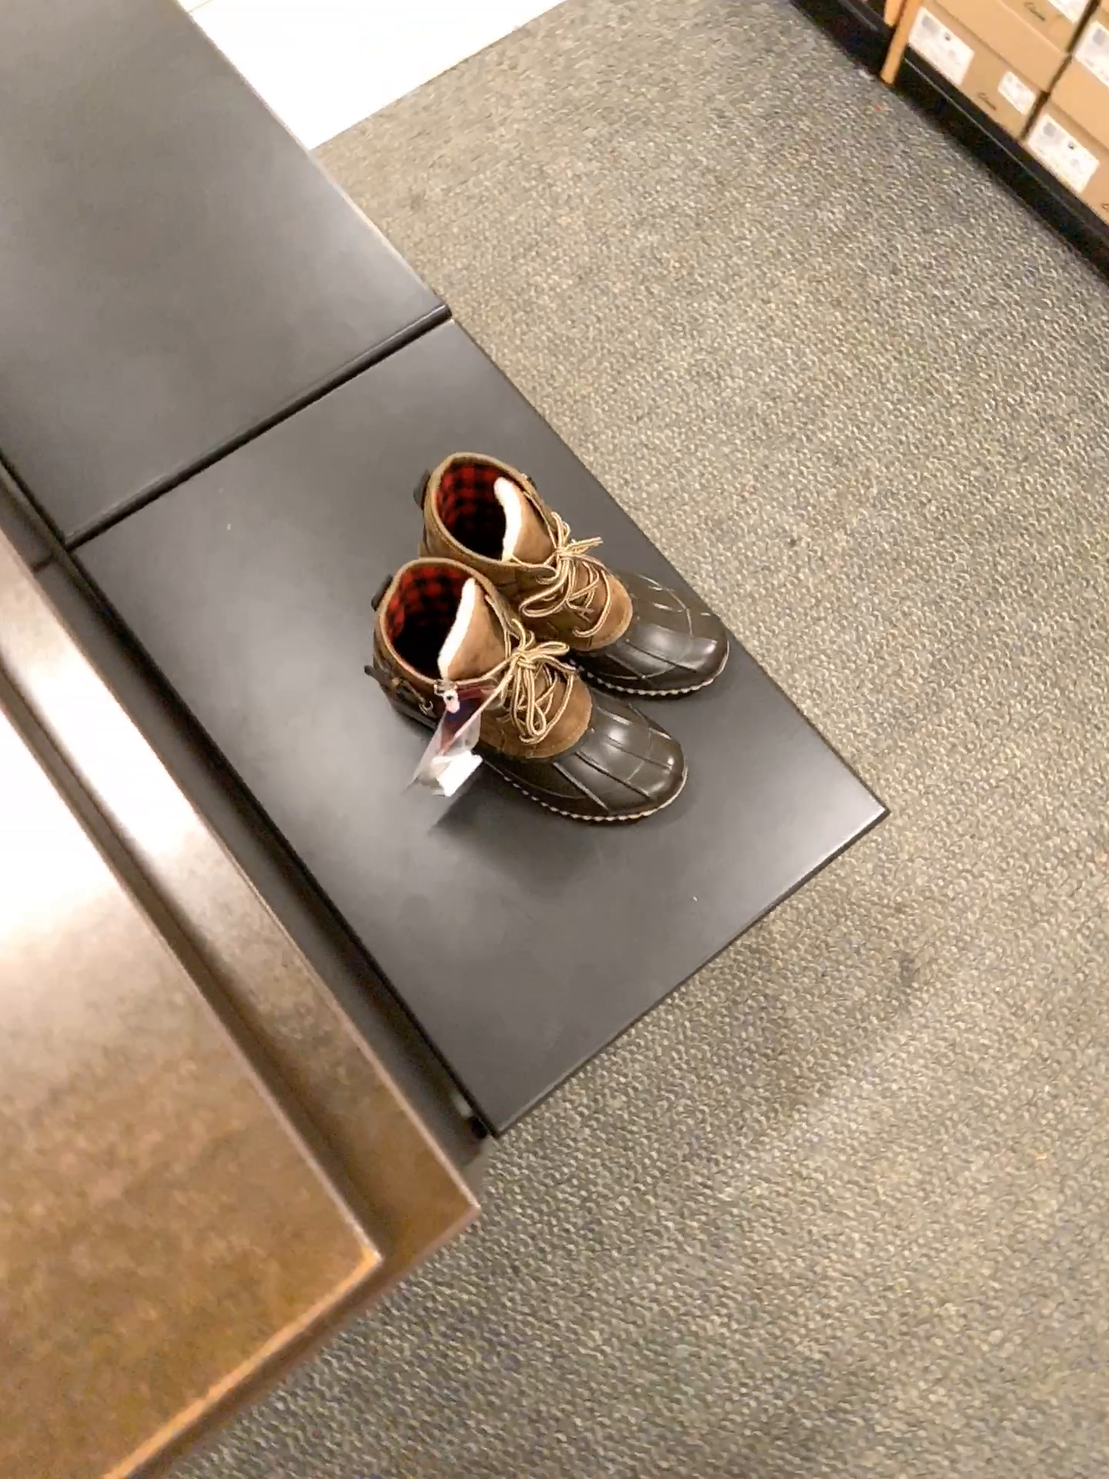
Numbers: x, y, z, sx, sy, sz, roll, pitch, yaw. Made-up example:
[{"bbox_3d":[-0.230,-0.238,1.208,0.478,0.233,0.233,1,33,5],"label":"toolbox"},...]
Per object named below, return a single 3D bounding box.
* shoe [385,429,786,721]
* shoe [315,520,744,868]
[{"bbox_3d":[0.019,-0.108,0.791,0.240,0.150,0.100,12,73,2],"label":"shoe"},{"bbox_3d":[-0.017,-0.023,0.758,0.240,0.150,0.100,24,73,5],"label":"shoe"}]
